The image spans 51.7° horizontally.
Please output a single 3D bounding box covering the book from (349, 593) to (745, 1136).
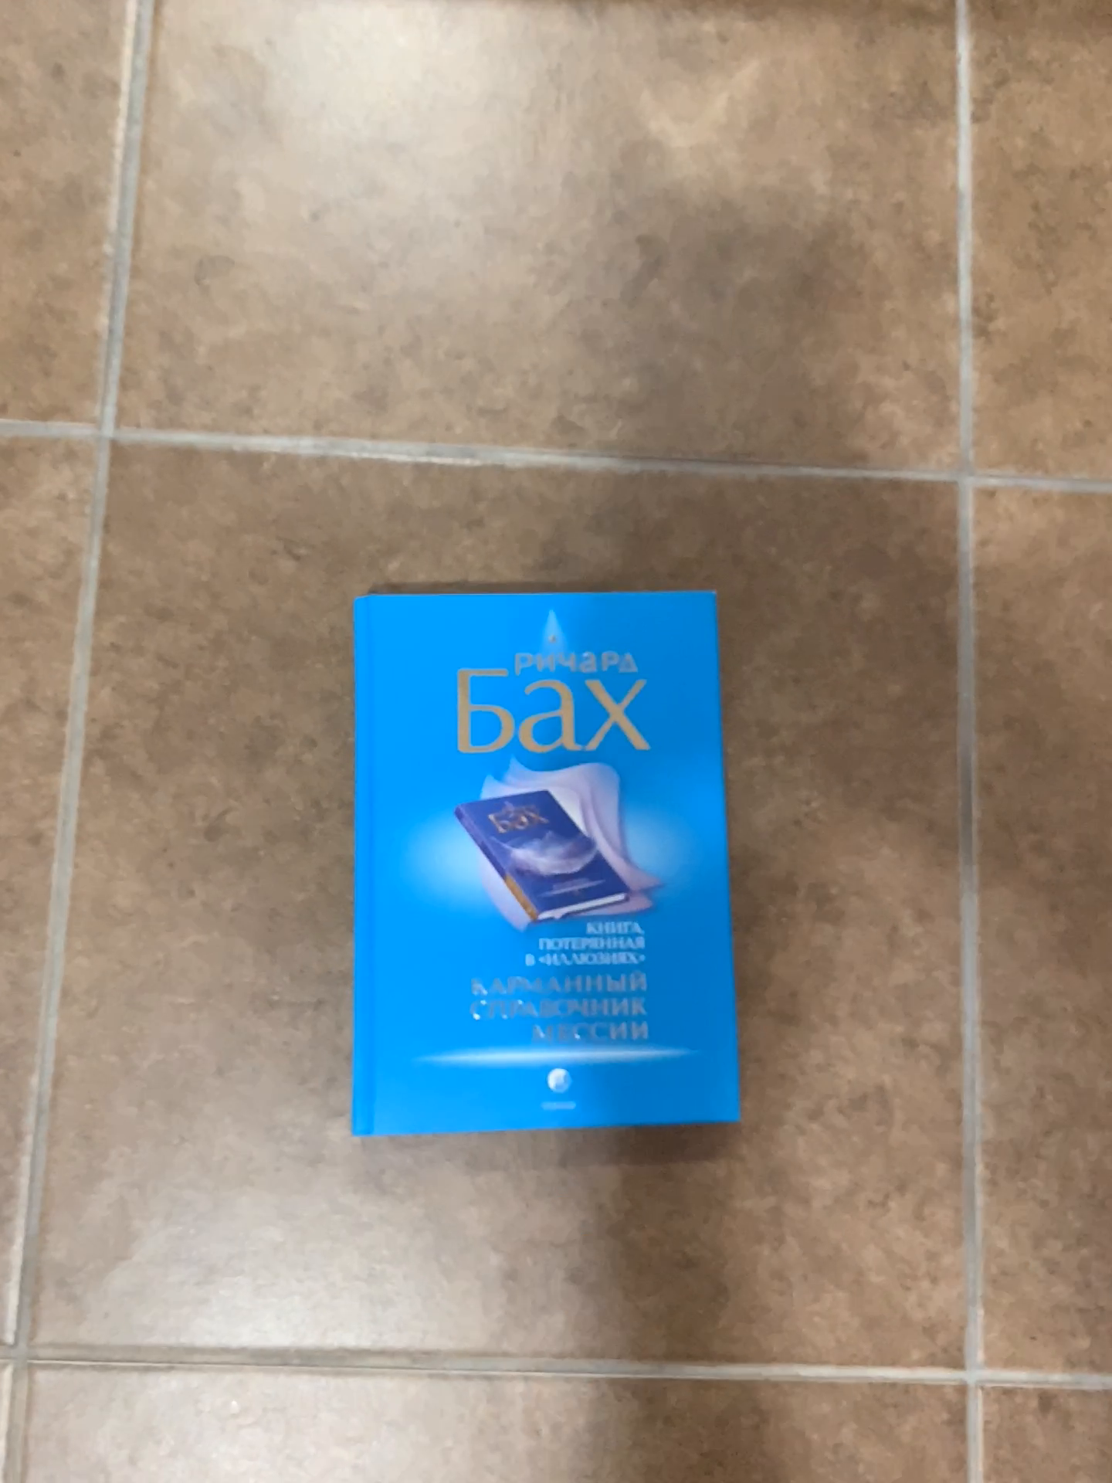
[{"bbox_3d":[-0.004,0.037,0.372,0.122,0.015,0.169,-1,82,-2],"label":"book"}]
